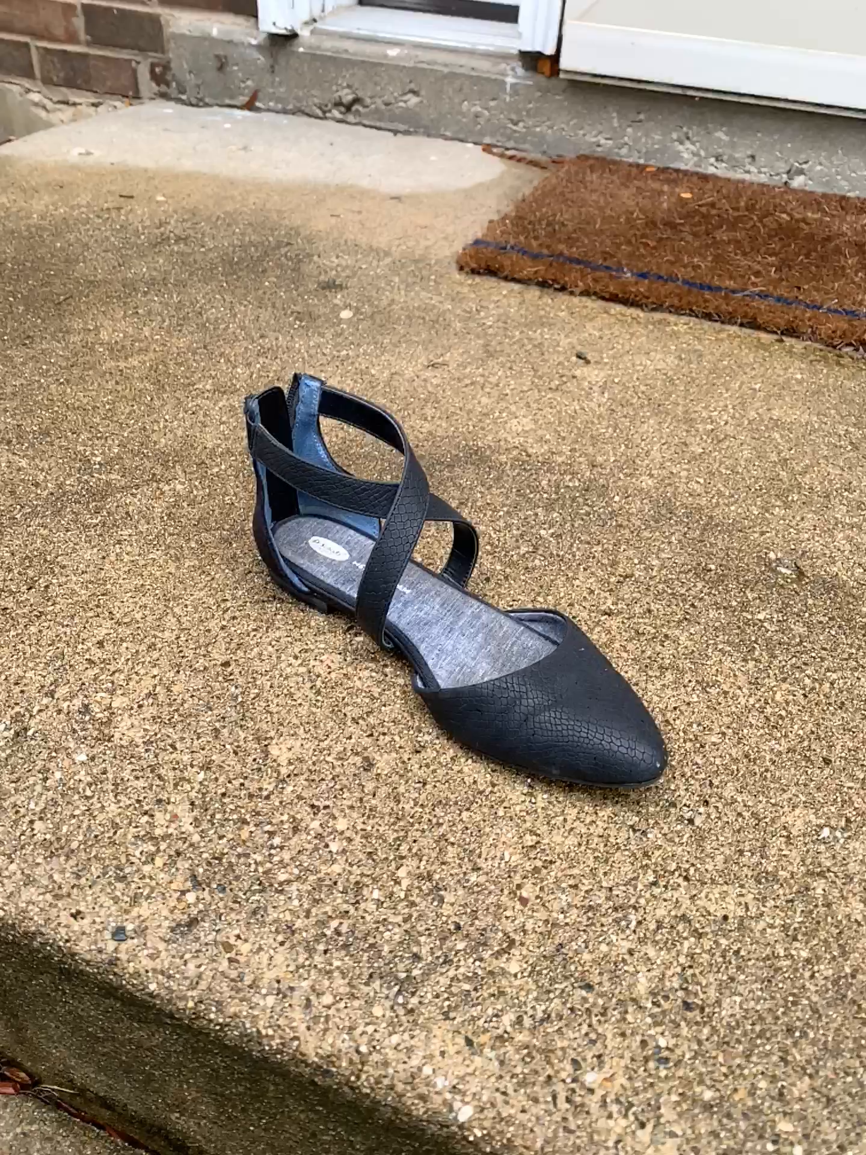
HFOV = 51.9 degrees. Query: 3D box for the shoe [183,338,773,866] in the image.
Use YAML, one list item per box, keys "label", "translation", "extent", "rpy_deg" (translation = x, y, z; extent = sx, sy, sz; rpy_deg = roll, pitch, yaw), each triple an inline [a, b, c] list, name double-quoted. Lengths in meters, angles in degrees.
- label: "shoe"
  translation: [0.004, -0.006, 0.429]
  extent: [0.263, 0.112, 0.097]
  rpy_deg: [33, 46, 30]
